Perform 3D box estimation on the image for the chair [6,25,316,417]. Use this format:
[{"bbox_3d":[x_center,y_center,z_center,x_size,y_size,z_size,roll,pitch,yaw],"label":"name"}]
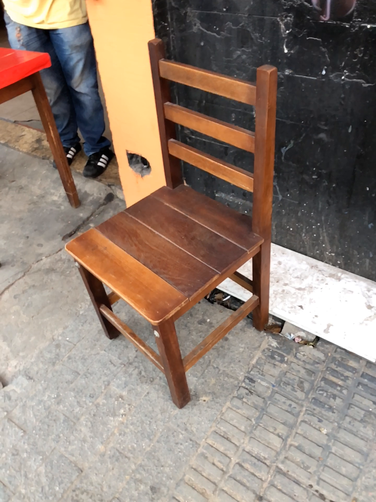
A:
[{"bbox_3d":[-0.034,-0.071,1.188,0.502,0.892,0.462,-33,47,-29],"label":"chair"}]
